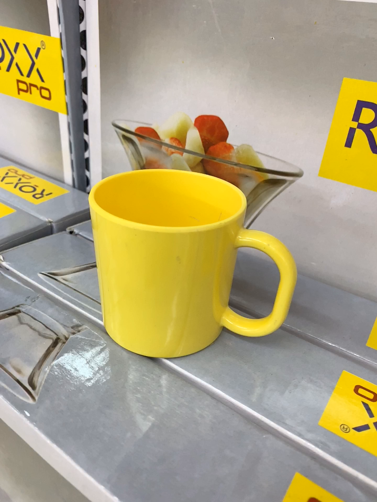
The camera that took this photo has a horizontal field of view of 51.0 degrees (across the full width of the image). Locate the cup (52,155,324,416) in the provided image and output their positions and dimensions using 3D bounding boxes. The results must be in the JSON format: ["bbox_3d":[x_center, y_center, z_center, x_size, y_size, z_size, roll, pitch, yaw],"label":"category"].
[{"bbox_3d":[-0.001,0.007,0.189,0.096,0.069,0.072,21,34,24],"label":"cup"}]
